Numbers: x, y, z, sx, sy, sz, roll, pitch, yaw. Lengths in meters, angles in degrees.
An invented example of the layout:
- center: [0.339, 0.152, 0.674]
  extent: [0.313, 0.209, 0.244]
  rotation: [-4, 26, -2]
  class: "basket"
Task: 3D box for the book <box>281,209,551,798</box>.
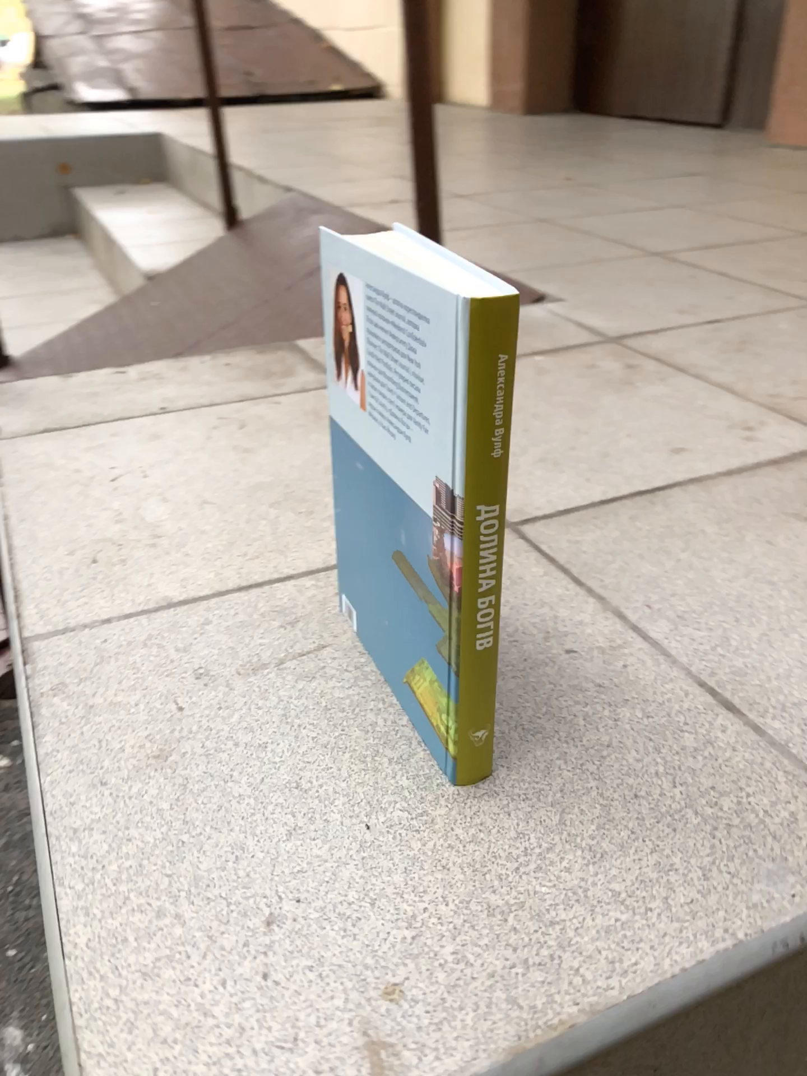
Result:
- center: [0.000, -0.022, 0.394]
  extent: [0.044, 0.208, 0.161]
  rotation: [-13, 31, -18]
  class: "book"
